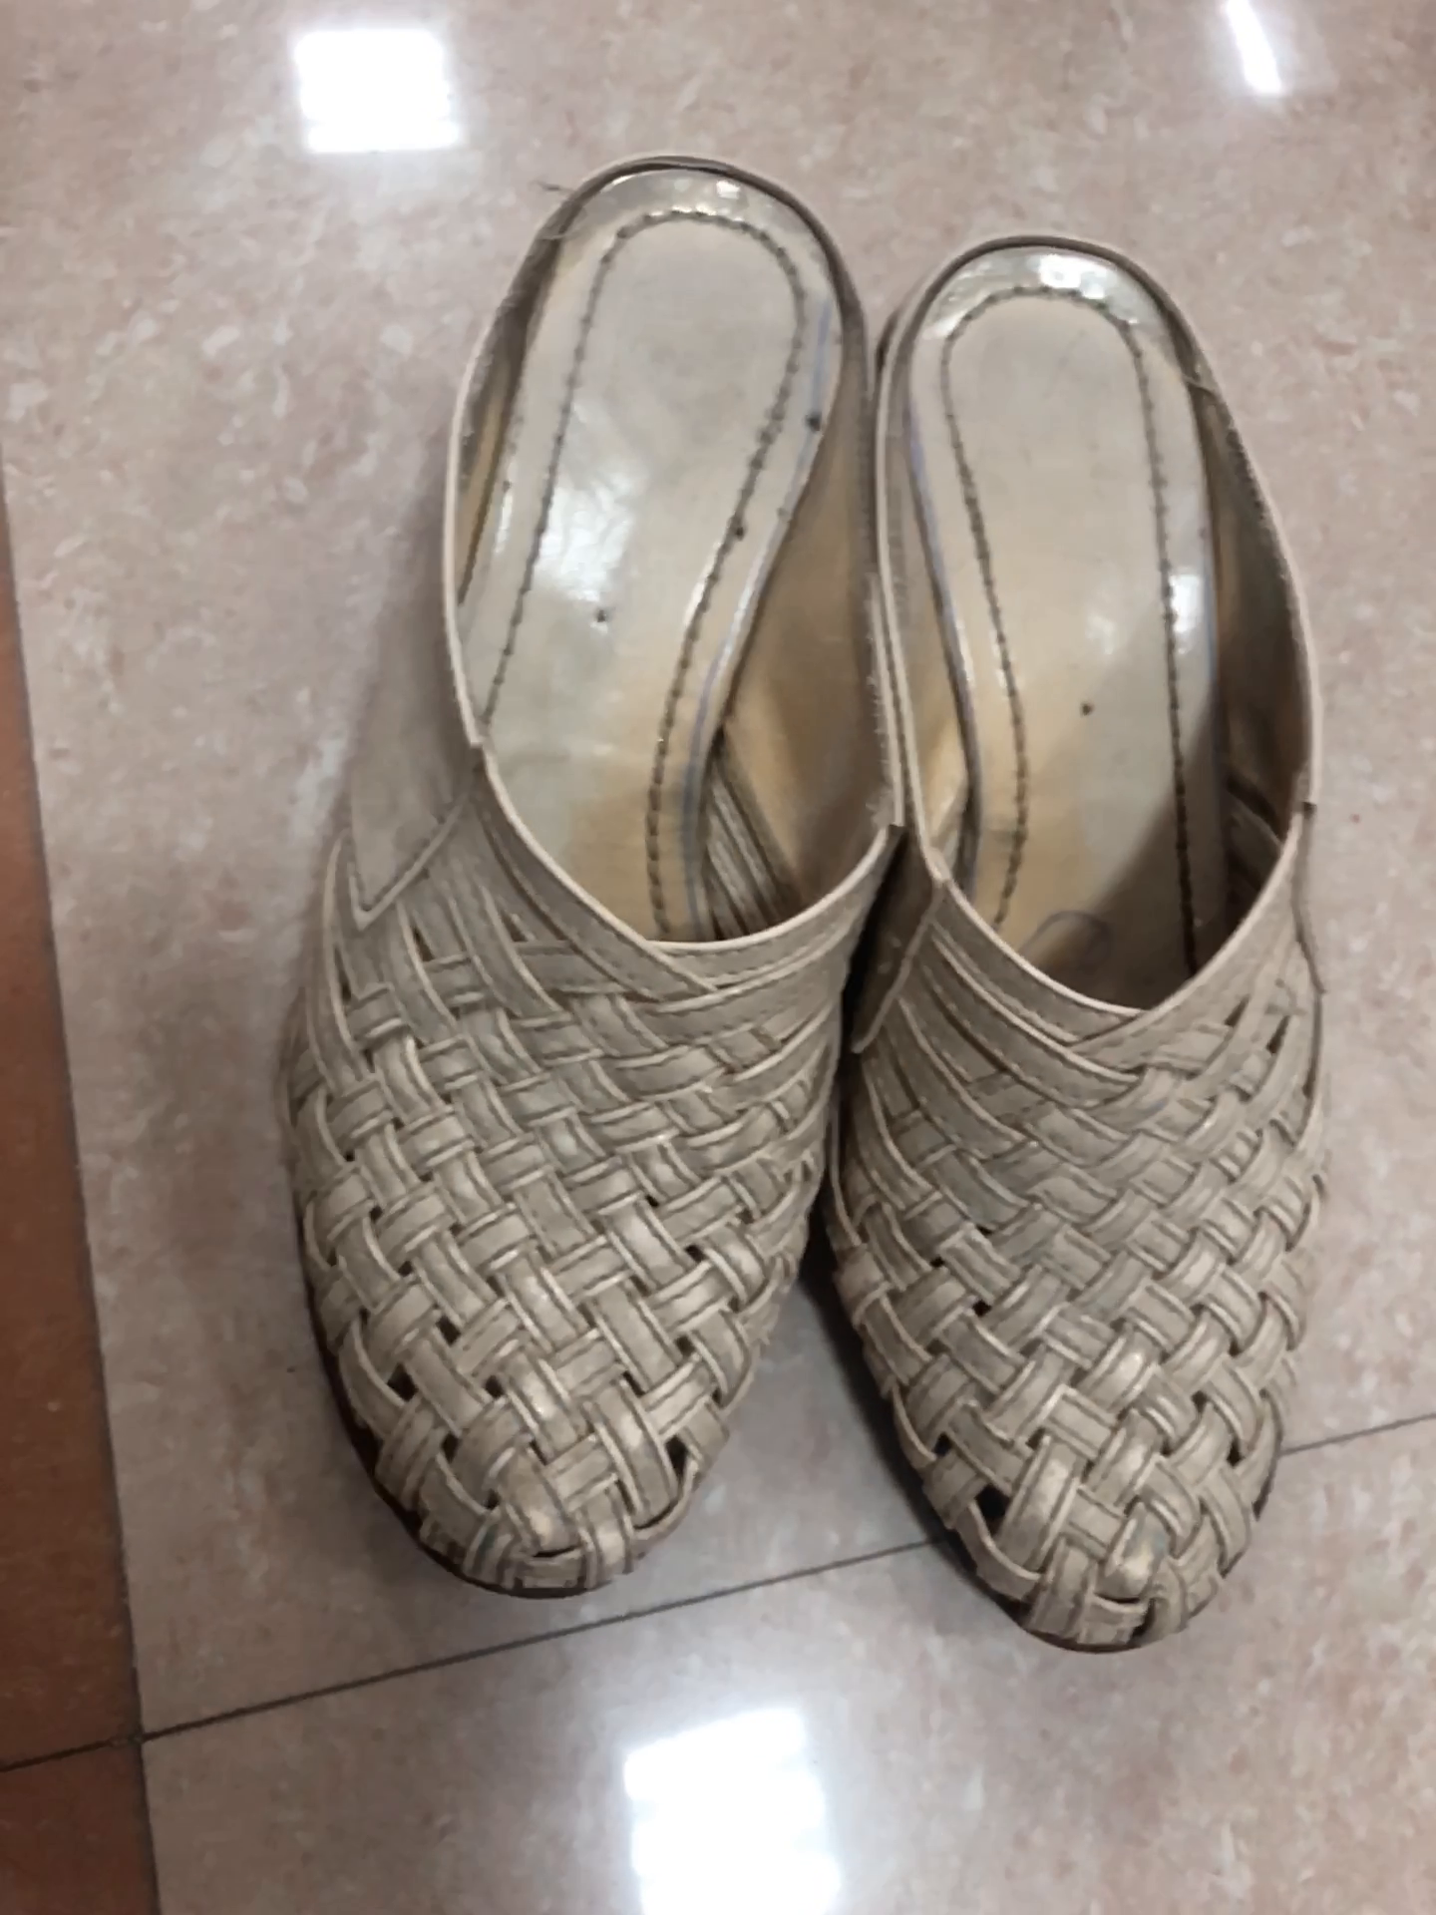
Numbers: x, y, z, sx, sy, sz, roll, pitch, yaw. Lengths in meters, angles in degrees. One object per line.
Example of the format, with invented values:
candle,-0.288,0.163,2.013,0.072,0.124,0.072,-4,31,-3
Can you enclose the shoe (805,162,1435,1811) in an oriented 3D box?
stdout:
shoe,0.069,-0.001,0.272,0.090,0.080,0.240,-1,78,-3

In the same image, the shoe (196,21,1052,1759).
shoe,-0.009,-0.014,0.263,0.090,0.080,0.240,7,77,-4
